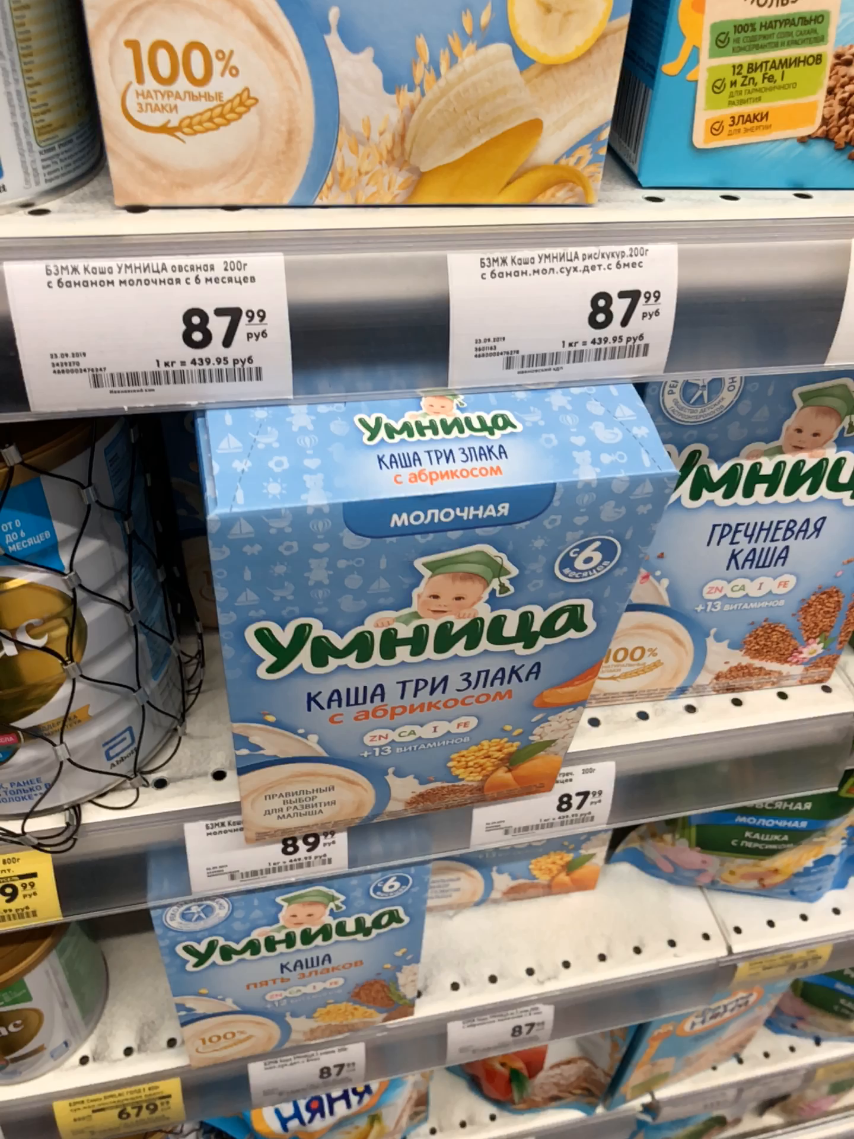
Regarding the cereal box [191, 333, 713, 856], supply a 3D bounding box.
[{"bbox_3d":[-0.005,0.022,0.349,0.140,0.209,0.060,-6,51,-13],"label":"cereal box"}]
